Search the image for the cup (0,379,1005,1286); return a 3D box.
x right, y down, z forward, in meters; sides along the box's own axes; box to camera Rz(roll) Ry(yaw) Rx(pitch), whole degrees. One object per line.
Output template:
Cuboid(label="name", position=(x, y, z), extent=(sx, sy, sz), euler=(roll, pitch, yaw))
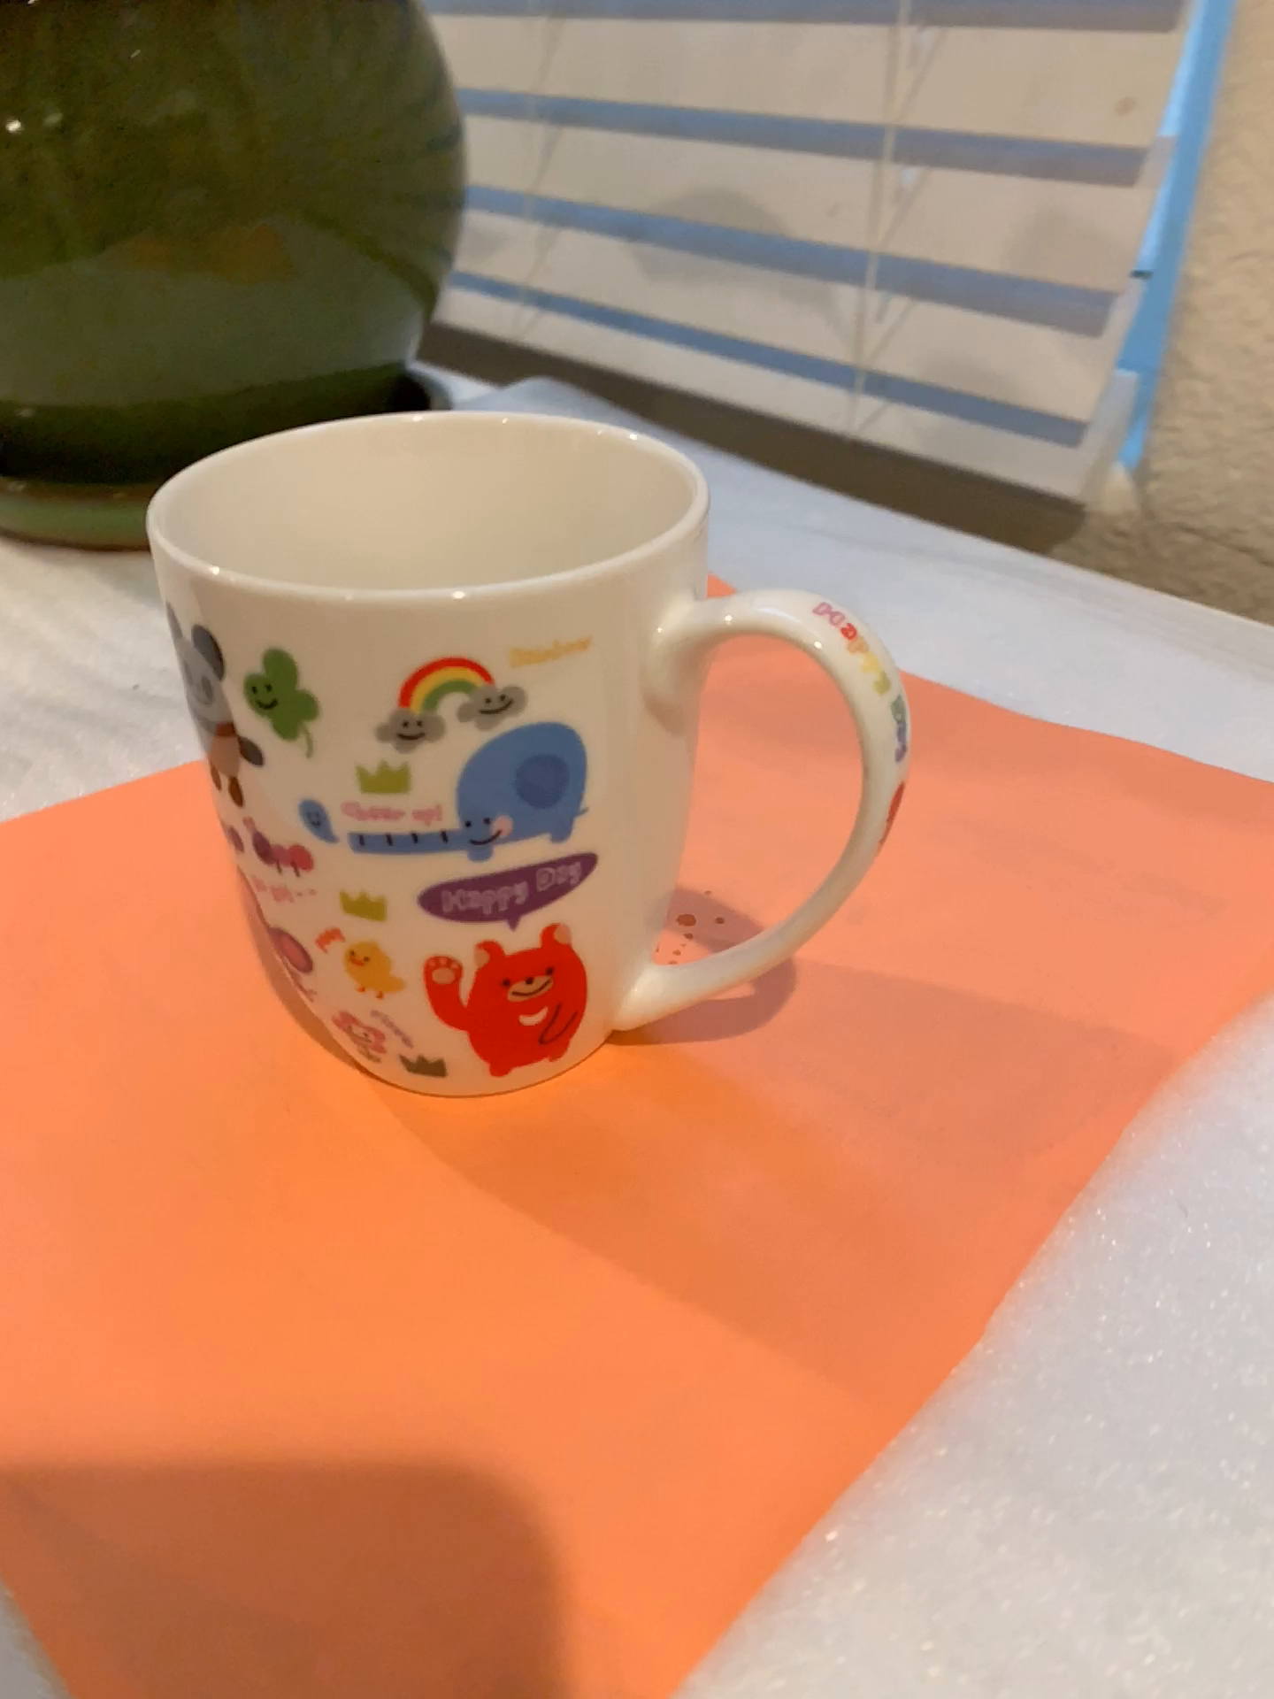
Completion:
Cuboid(label="cup", position=(-0.018, -0.015, 0.219), extent=(0.120, 0.089, 0.091), euler=(18, 37, 25))
